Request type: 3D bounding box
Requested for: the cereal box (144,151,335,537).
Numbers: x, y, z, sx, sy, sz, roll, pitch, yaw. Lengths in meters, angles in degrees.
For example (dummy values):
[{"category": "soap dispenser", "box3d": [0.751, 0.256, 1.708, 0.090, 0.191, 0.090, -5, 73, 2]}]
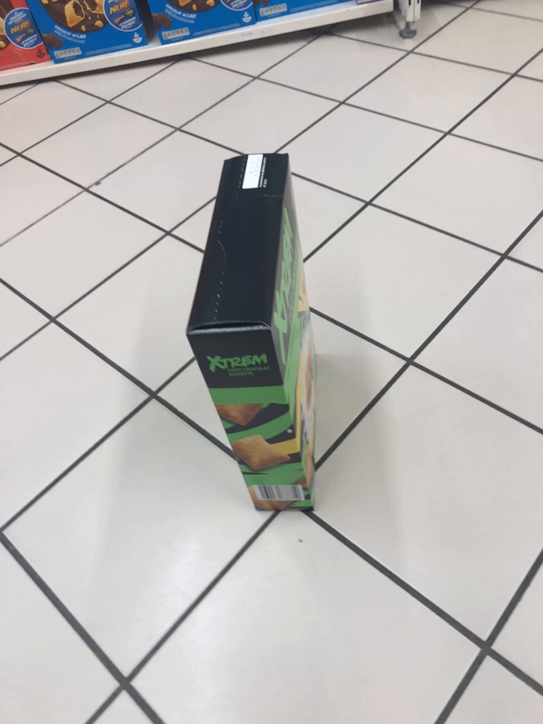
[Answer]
[{"category": "cereal box", "box3d": [-0.003, -0.004, 0.483, 0.090, 0.239, 0.201, -2, 50, 9]}]
